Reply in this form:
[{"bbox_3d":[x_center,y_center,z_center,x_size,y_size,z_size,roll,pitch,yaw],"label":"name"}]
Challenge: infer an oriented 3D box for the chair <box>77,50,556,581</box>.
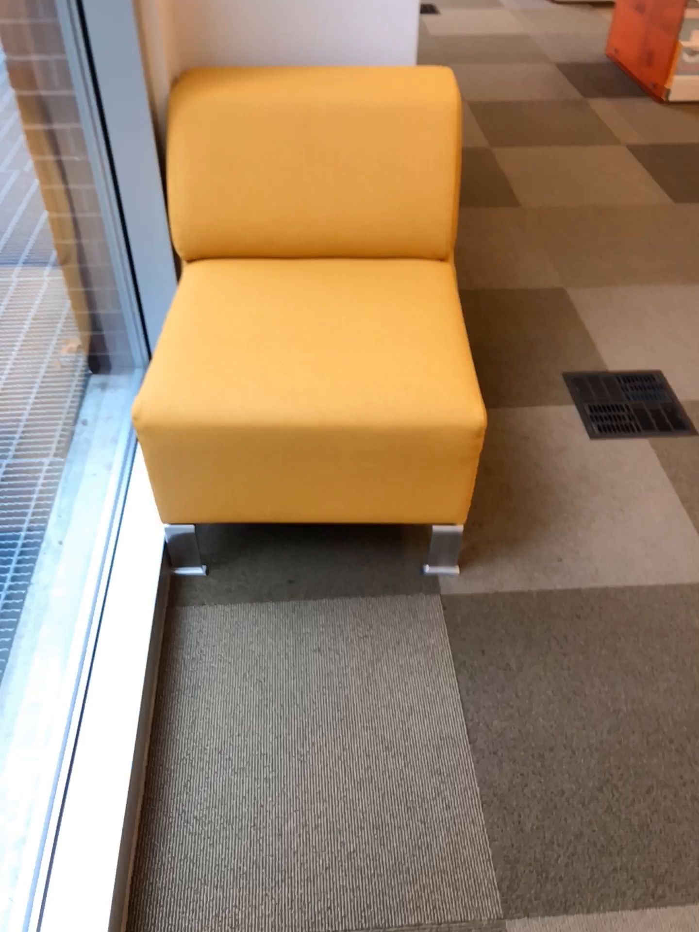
[{"bbox_3d":[-0.057,-0.344,1.641,0.662,0.759,0.874,0,43,-1],"label":"chair"}]
